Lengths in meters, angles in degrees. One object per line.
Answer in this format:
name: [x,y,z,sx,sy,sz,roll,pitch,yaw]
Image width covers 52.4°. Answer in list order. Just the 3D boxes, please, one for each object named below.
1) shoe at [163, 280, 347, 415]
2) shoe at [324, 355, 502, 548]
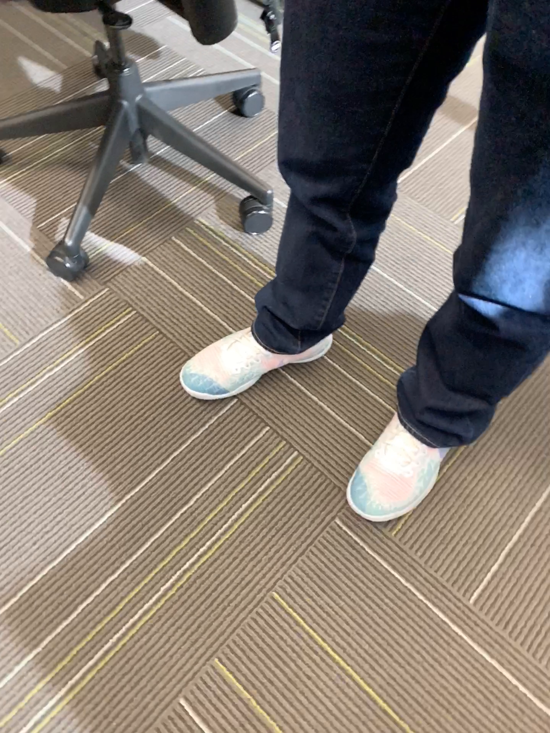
shoe: [-0.033,-0.036,0.968,0.283,0.088,0.118,-21,62,-13]
shoe: [0.220,0.128,0.891,0.123,0.078,0.290,38,66,20]
